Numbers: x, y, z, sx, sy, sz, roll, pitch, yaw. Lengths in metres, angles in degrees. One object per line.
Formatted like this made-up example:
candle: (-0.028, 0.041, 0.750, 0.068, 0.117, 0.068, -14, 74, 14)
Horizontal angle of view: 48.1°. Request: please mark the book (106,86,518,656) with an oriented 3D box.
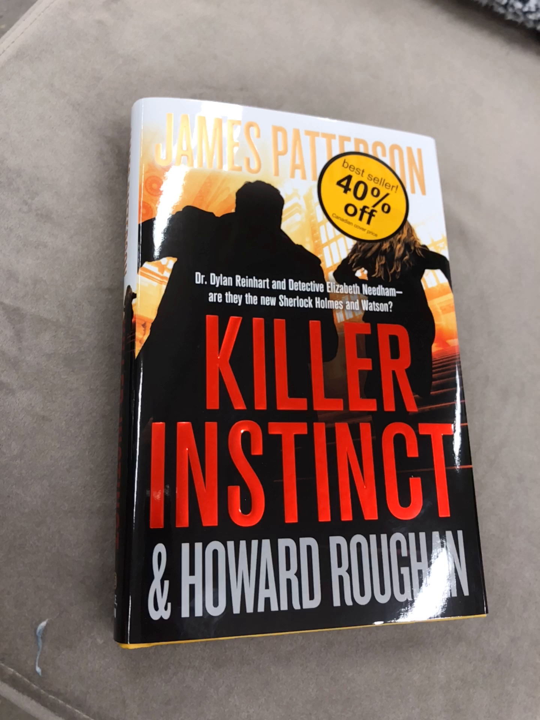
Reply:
book: (0.017, -0.001, 0.286, 0.172, 0.038, 0.237, 2, 75, -15)
